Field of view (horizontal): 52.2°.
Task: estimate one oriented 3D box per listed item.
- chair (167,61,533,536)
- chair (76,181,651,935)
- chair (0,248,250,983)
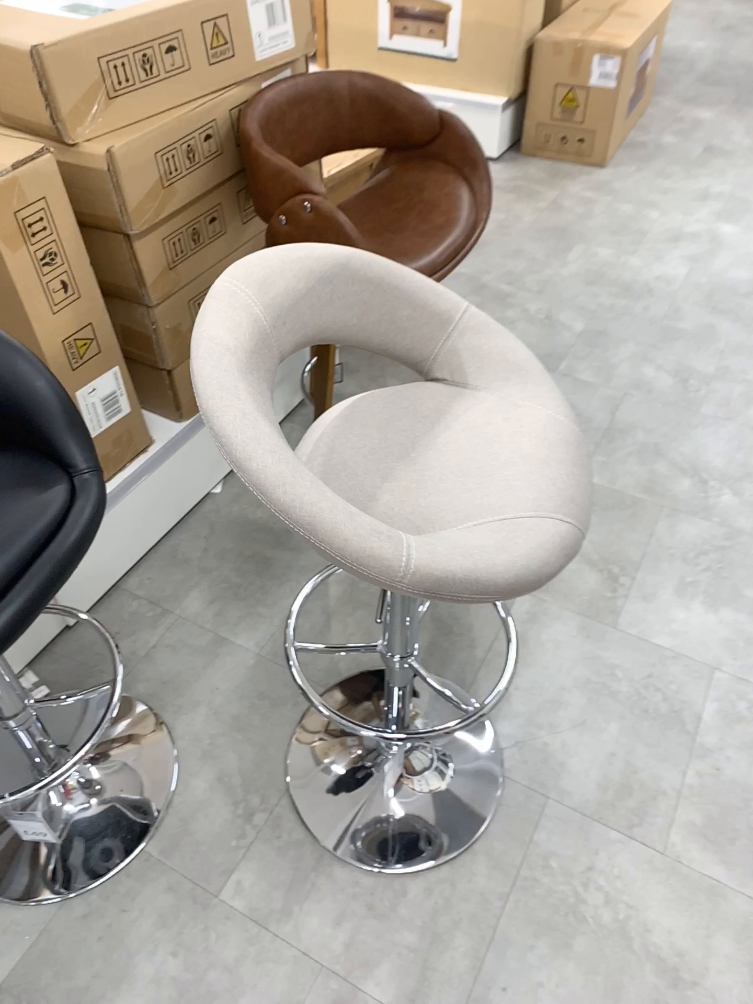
[{"bbox_3d":[-0.048,-0.486,1.874,0.545,0.864,0.518,31,52,28],"label":"chair"},{"bbox_3d":[0.044,0.129,1.179,0.483,0.963,0.570,12,46,12],"label":"chair"},{"bbox_3d":[-0.582,0.212,1.150,0.484,0.933,0.520,14,46,15],"label":"chair"}]
